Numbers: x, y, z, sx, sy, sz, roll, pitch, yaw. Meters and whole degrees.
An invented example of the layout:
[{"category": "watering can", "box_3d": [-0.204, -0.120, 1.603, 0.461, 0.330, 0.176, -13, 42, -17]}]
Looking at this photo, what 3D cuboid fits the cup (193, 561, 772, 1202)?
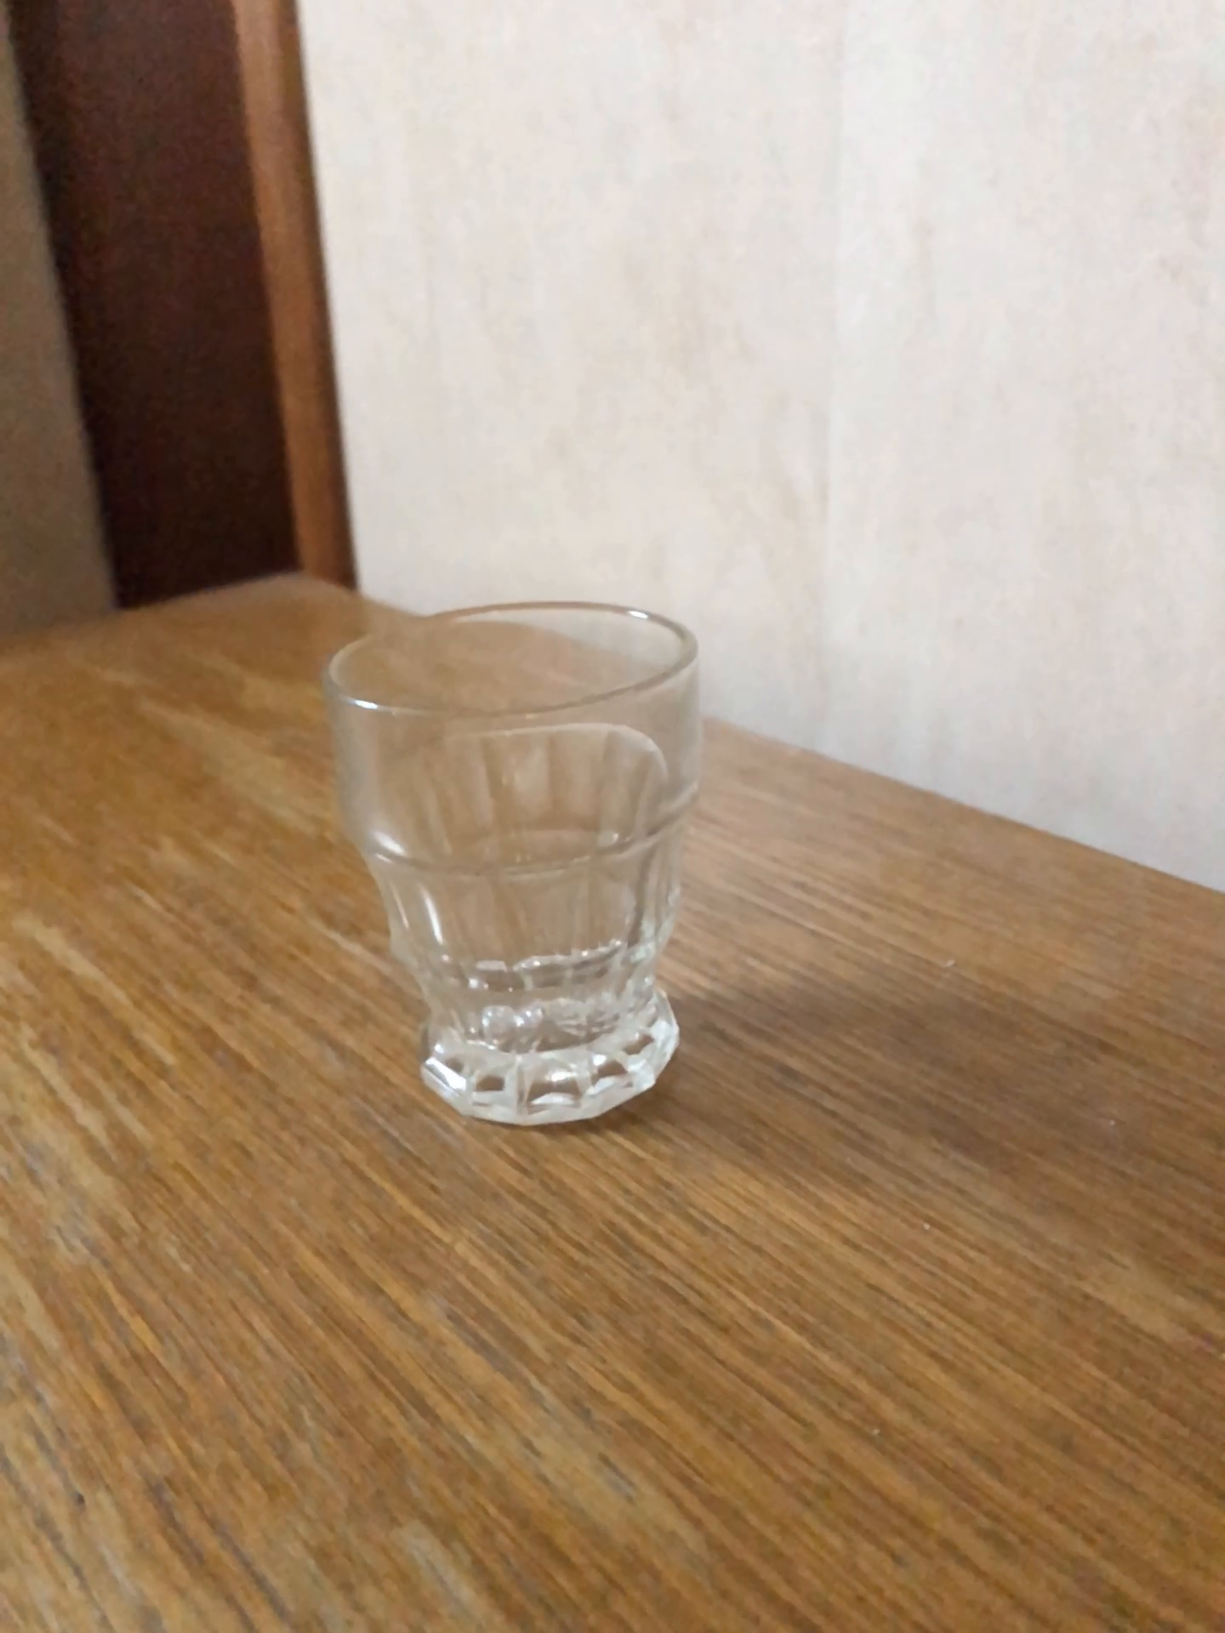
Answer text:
[{"category": "cup", "box_3d": [-0.016, 0.005, 0.214, 0.060, 0.070, 0.060, -2, 24, 1]}]
